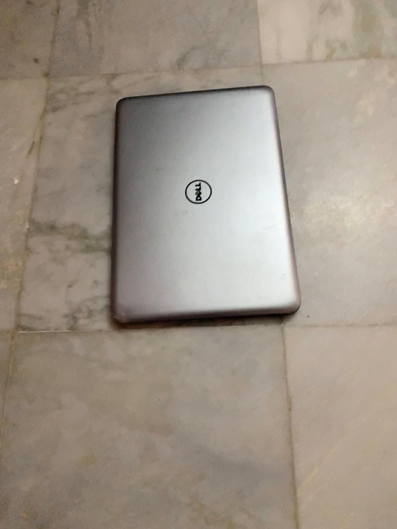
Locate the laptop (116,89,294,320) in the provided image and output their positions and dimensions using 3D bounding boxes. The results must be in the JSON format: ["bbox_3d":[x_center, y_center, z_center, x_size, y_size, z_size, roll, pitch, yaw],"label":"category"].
[{"bbox_3d":[0.000,-0.101,0.586,0.234,0.001,0.352,-3,72,3],"label":"laptop"}]
